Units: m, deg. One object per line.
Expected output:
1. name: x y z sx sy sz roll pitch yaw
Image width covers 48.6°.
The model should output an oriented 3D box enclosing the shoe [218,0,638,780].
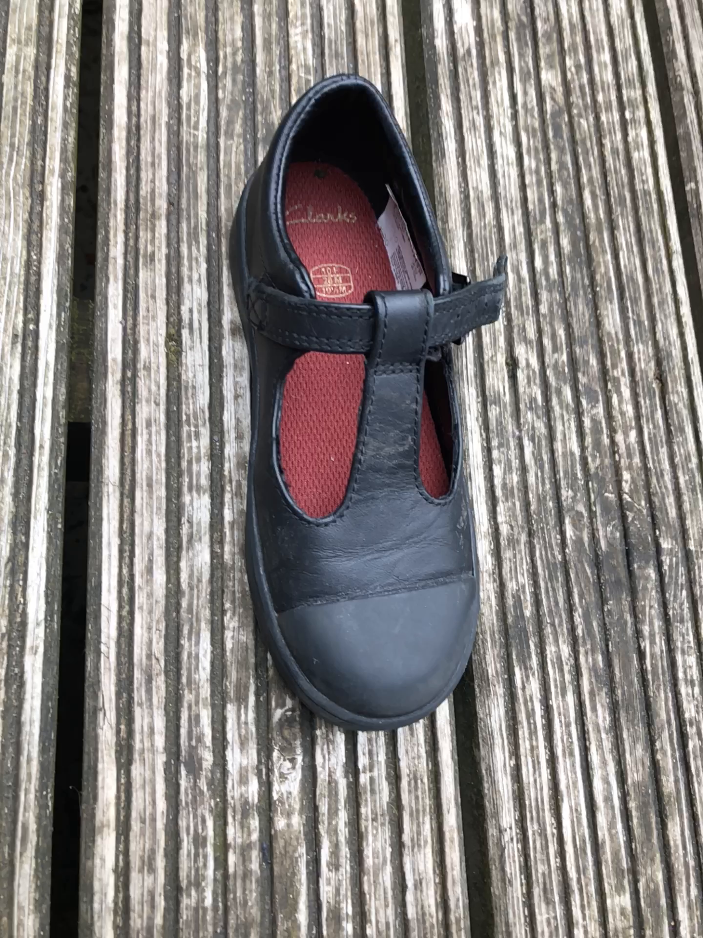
1. shoe: 0.011 -0.022 0.229 0.080 0.080 0.193 0 77 -19
